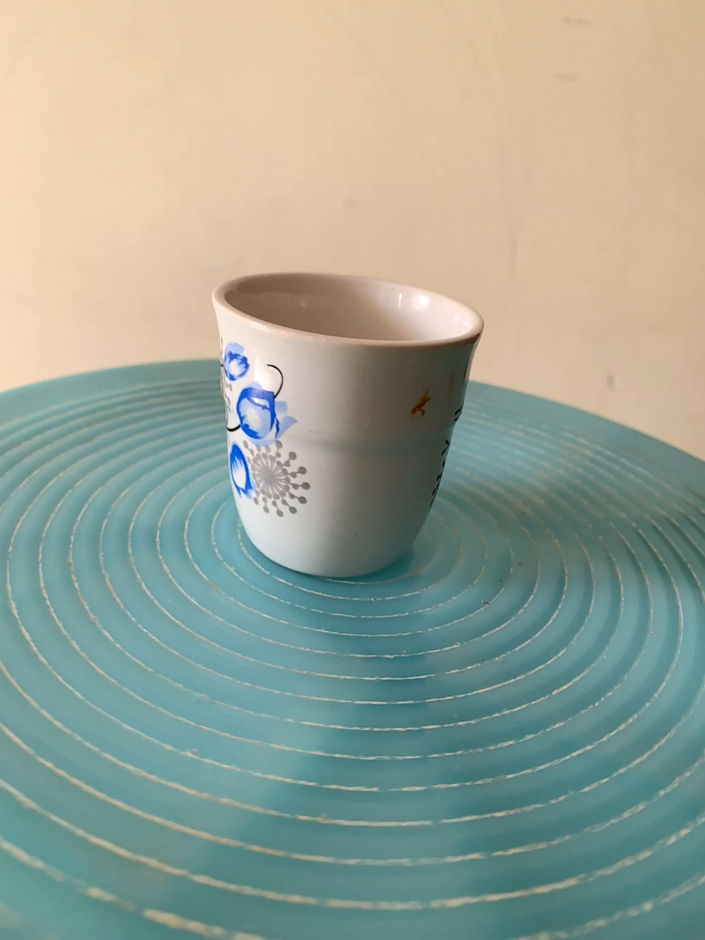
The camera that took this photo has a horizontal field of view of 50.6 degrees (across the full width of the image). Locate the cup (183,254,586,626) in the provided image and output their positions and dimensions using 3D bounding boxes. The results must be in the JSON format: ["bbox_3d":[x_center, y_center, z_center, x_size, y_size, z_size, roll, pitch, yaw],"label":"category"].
[{"bbox_3d":[-0.002,-0.016,0.195,0.070,0.060,0.091,-4,27,-21],"label":"cup"}]
